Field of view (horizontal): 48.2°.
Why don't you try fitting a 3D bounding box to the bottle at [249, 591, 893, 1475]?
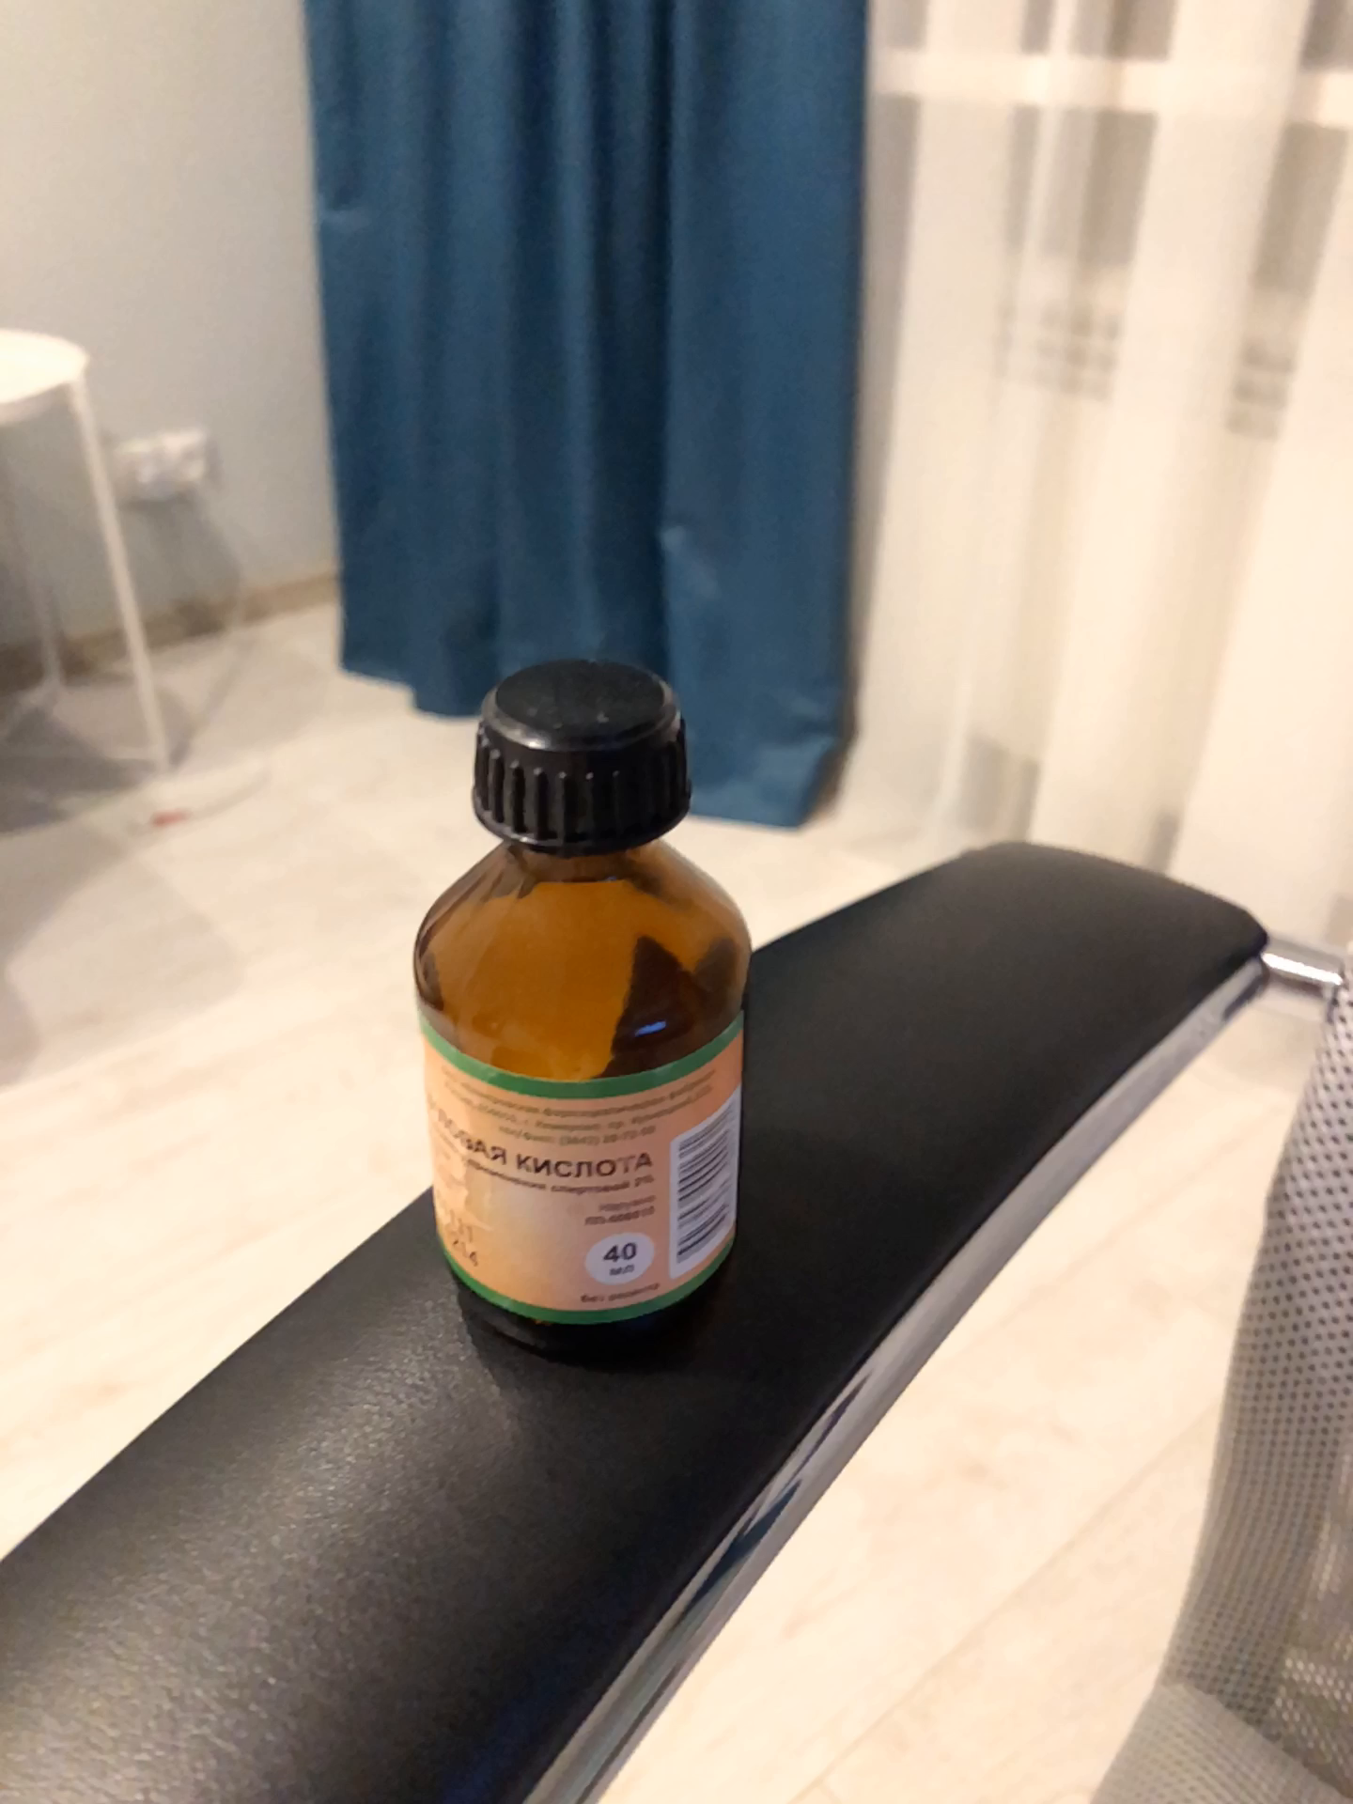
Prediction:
[{"bbox_3d":[-0.010,0.014,0.186,0.050,0.083,0.050,0,31,0],"label":"bottle"}]
